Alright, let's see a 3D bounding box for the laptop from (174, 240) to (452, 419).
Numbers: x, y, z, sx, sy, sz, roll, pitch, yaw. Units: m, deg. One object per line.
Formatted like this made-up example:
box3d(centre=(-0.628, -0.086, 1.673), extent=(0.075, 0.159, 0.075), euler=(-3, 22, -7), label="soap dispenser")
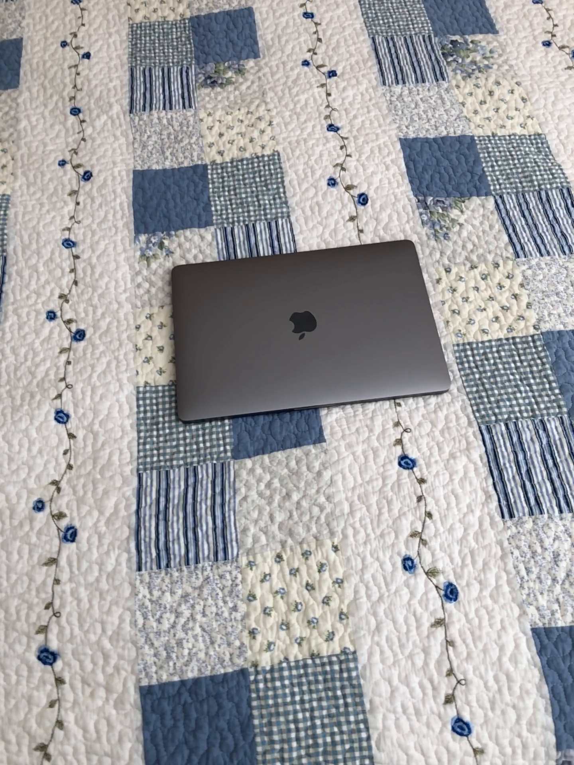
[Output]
box3d(centre=(0.020, -0.067, 0.721), extent=(0.290, 0.005, 0.202), euler=(-7, 62, -2), label="laptop")
